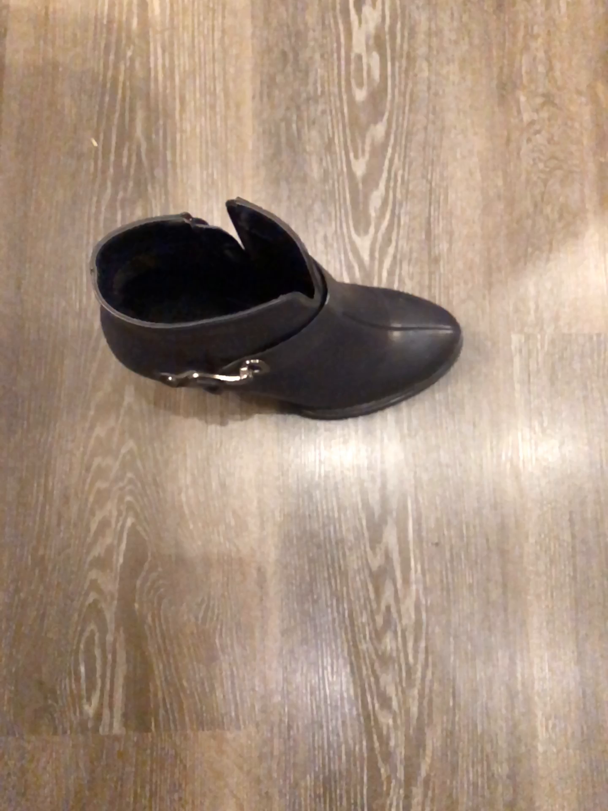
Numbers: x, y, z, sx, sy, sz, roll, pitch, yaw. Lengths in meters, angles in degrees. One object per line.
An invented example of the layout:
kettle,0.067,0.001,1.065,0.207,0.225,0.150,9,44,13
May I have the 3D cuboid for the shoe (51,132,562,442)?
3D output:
shoe,0.003,-0.051,0.395,0.220,0.180,0.100,8,82,1
